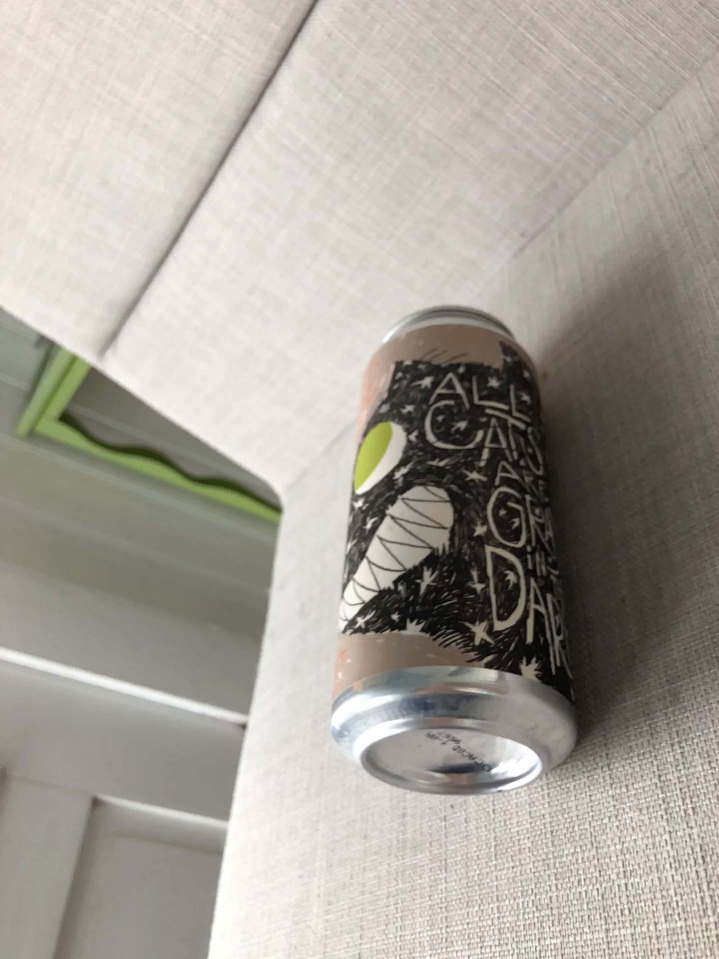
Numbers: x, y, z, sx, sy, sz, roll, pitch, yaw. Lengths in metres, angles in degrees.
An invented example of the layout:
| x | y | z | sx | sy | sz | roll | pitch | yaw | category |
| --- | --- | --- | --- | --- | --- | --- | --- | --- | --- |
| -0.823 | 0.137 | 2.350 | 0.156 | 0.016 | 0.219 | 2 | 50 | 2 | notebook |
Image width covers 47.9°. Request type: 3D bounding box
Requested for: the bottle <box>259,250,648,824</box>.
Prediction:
| x | y | z | sx | sy | sz | roll | pitch | yaw | category |
| --- | --- | --- | --- | --- | --- | --- | --- | --- | --- |
| 0.023 | 0.015 | 0.254 | 0.070 | 0.070 | 0.151 | -42 | 35 | 40 | bottle |
